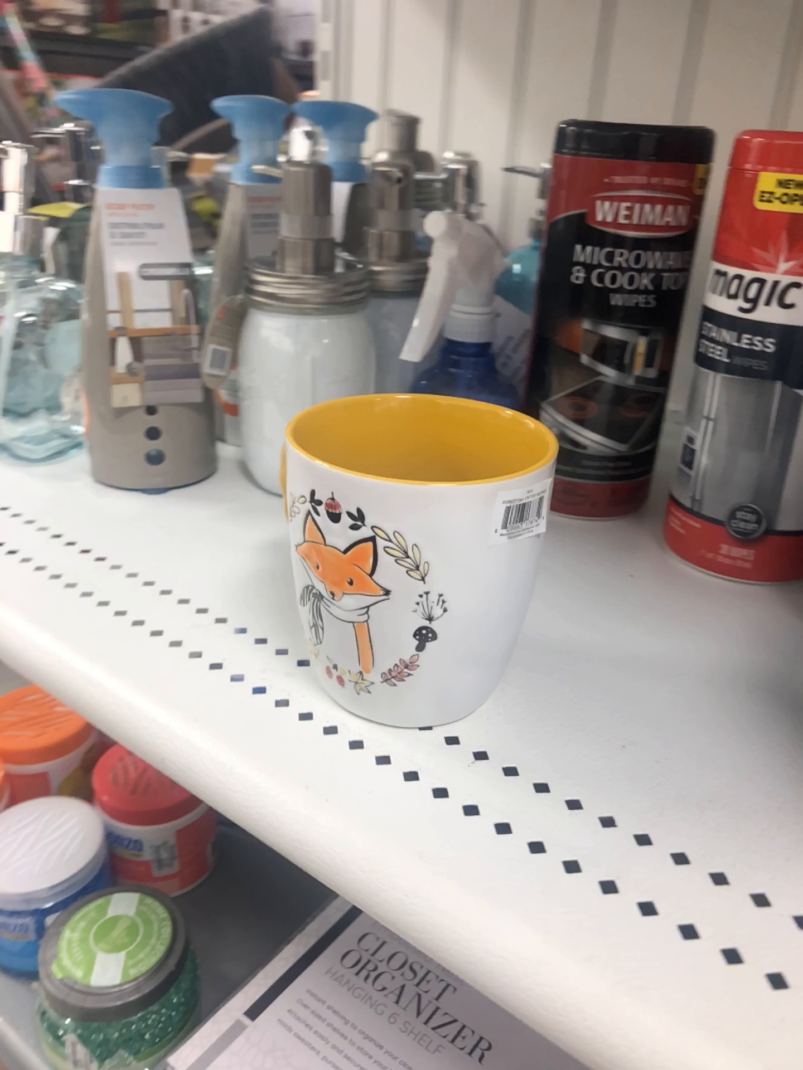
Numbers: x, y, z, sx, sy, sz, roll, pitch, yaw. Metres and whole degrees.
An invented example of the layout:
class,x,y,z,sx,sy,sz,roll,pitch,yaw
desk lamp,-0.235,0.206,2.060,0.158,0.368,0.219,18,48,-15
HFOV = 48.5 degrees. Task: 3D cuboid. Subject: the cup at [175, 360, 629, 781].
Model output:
class,x,y,z,sx,sy,sz,roll,pitch,yaw
cup,-0.006,0.000,0.337,0.099,0.093,0.133,-18,32,-38
